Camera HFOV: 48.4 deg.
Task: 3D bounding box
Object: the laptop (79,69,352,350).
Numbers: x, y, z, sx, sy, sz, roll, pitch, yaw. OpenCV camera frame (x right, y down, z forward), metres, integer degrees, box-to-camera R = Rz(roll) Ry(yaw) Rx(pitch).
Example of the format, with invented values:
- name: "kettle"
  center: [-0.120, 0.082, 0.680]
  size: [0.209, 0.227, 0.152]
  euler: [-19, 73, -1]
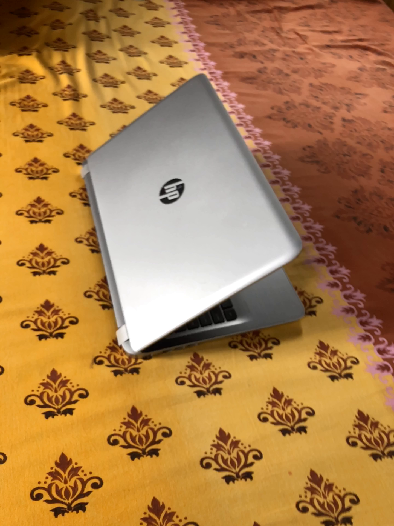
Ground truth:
- name: "laptop"
  center: [-0.010, -0.101, 0.625]
  size: [0.249, 0.155, 0.374]
  euler: [-10, 53, -15]
